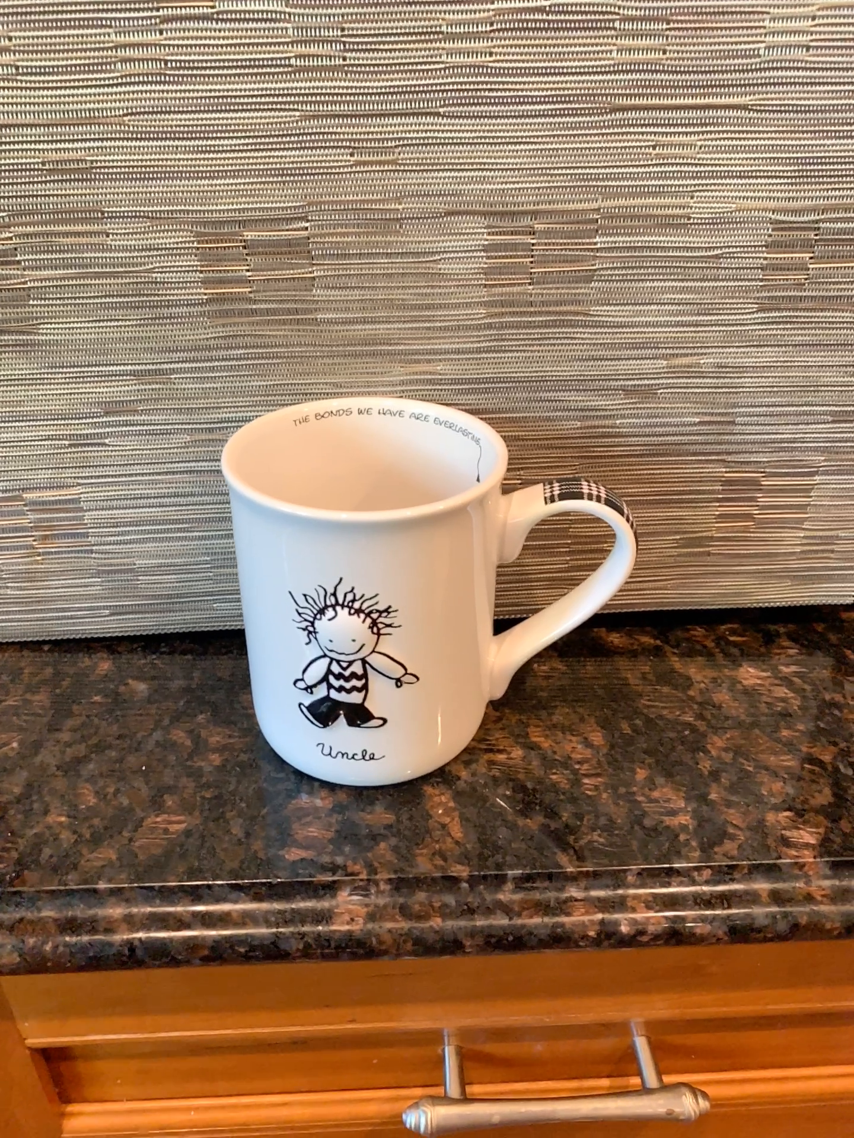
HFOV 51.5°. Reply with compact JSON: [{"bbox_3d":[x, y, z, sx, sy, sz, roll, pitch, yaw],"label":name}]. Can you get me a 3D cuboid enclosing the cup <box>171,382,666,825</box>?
[{"bbox_3d":[-0.001,0.008,0.303,0.130,0.109,0.101,2,31,2],"label":"cup"}]
